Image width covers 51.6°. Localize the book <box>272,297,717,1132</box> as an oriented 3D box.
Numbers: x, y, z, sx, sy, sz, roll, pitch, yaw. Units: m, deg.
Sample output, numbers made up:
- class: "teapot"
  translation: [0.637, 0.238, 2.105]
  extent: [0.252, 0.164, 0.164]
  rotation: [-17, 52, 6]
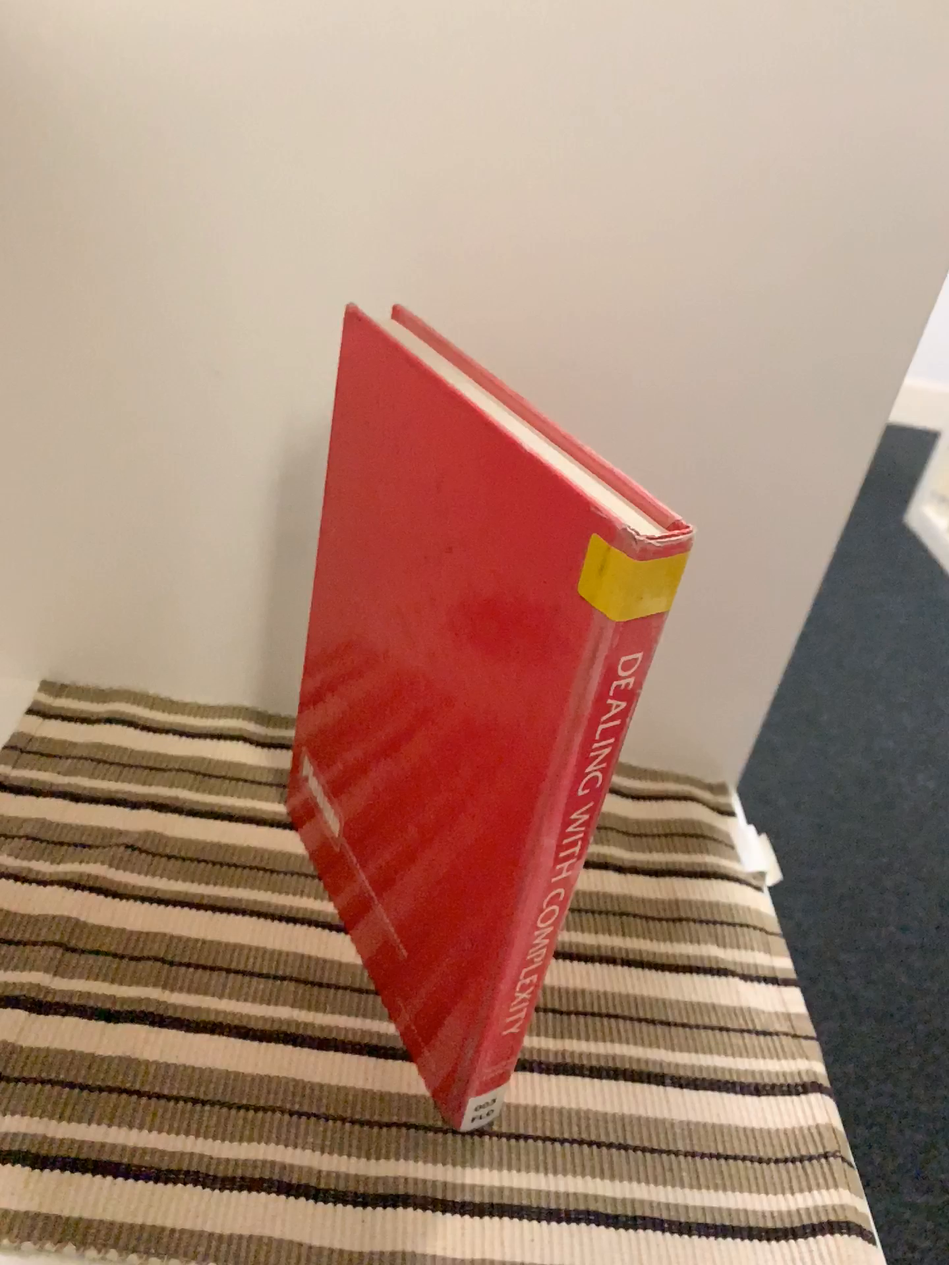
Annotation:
- class: "book"
  translation: [-0.021, 0.026, 0.383]
  extent: [0.030, 0.250, 0.201]
  rotation: [-7, 36, -30]
